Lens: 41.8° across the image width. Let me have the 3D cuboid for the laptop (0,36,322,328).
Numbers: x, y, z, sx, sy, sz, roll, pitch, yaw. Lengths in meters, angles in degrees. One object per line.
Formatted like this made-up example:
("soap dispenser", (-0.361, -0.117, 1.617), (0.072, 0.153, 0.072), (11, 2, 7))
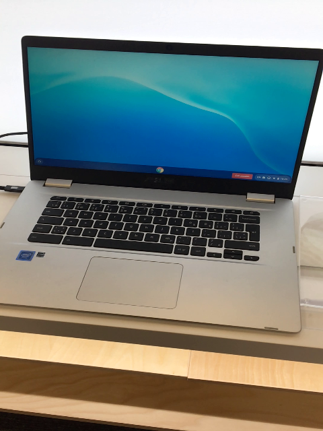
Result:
("laptop", (-0.008, -0.057, 0.525), (0.388, 0.199, 0.310), (6, 47, 5))
